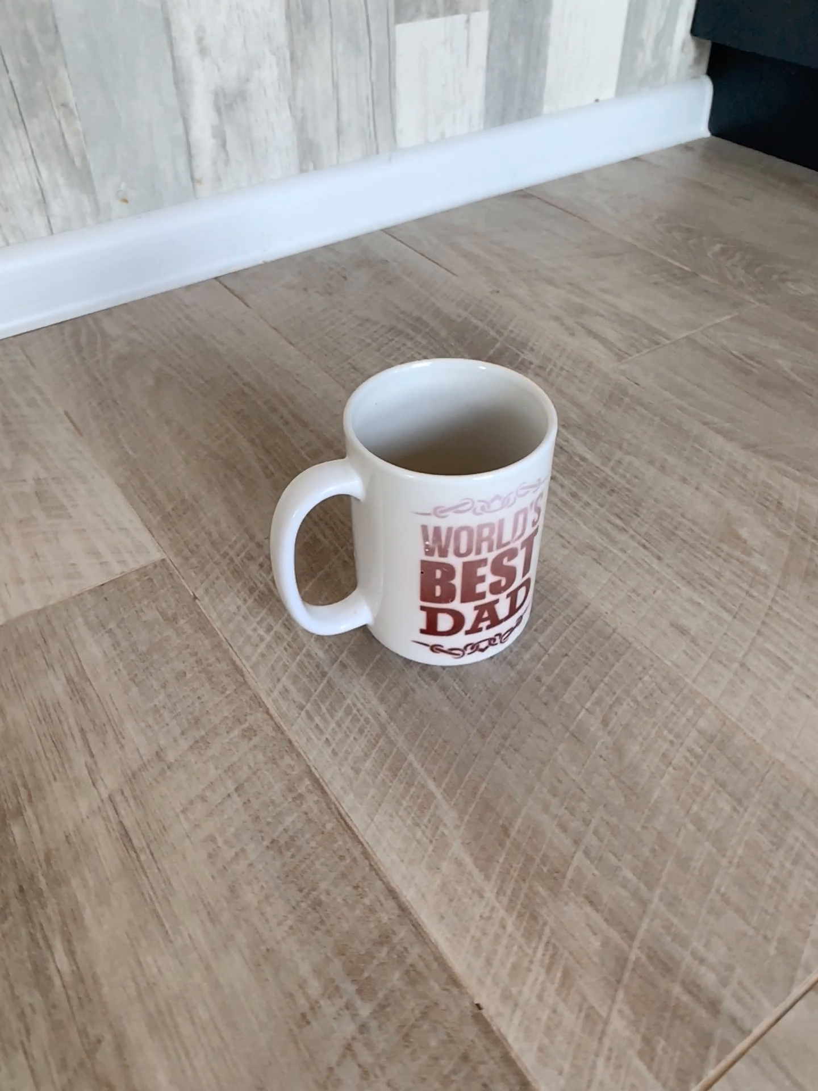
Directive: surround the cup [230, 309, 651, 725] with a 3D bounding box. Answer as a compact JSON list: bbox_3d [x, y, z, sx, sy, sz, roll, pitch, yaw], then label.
[{"bbox_3d":[0.010,-0.014,0.343,0.130,0.110,0.080,-19,46,-20],"label":"cup"}]
